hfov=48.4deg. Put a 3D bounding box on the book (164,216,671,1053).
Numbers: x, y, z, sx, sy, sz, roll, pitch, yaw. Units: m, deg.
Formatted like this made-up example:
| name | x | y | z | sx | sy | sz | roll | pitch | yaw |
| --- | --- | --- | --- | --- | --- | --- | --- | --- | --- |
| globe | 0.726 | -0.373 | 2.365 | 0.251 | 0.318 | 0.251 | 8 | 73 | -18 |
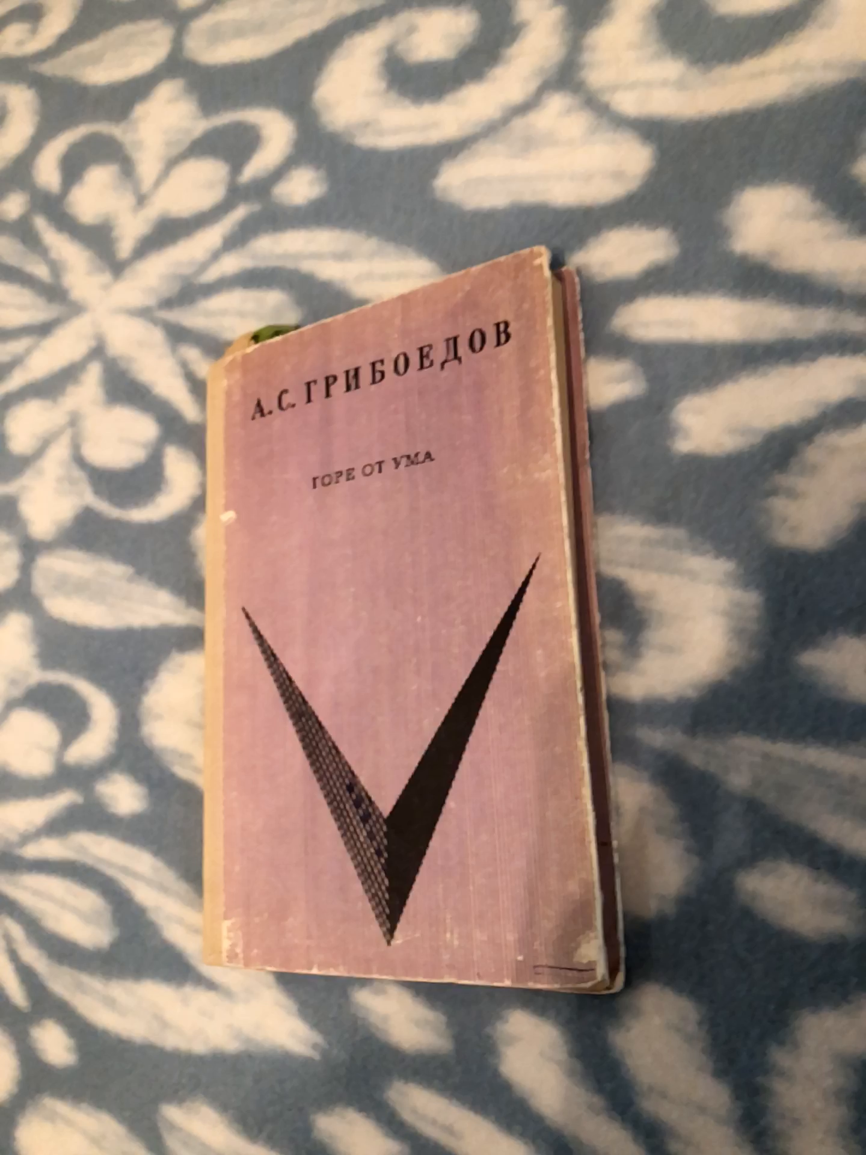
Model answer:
| name | x | y | z | sx | sy | sz | roll | pitch | yaw |
| --- | --- | --- | --- | --- | --- | --- | --- | --- | --- |
| book | -0.017 | 0.017 | 0.296 | 0.158 | 0.020 | 0.217 | -10 | 75 | 31 |
